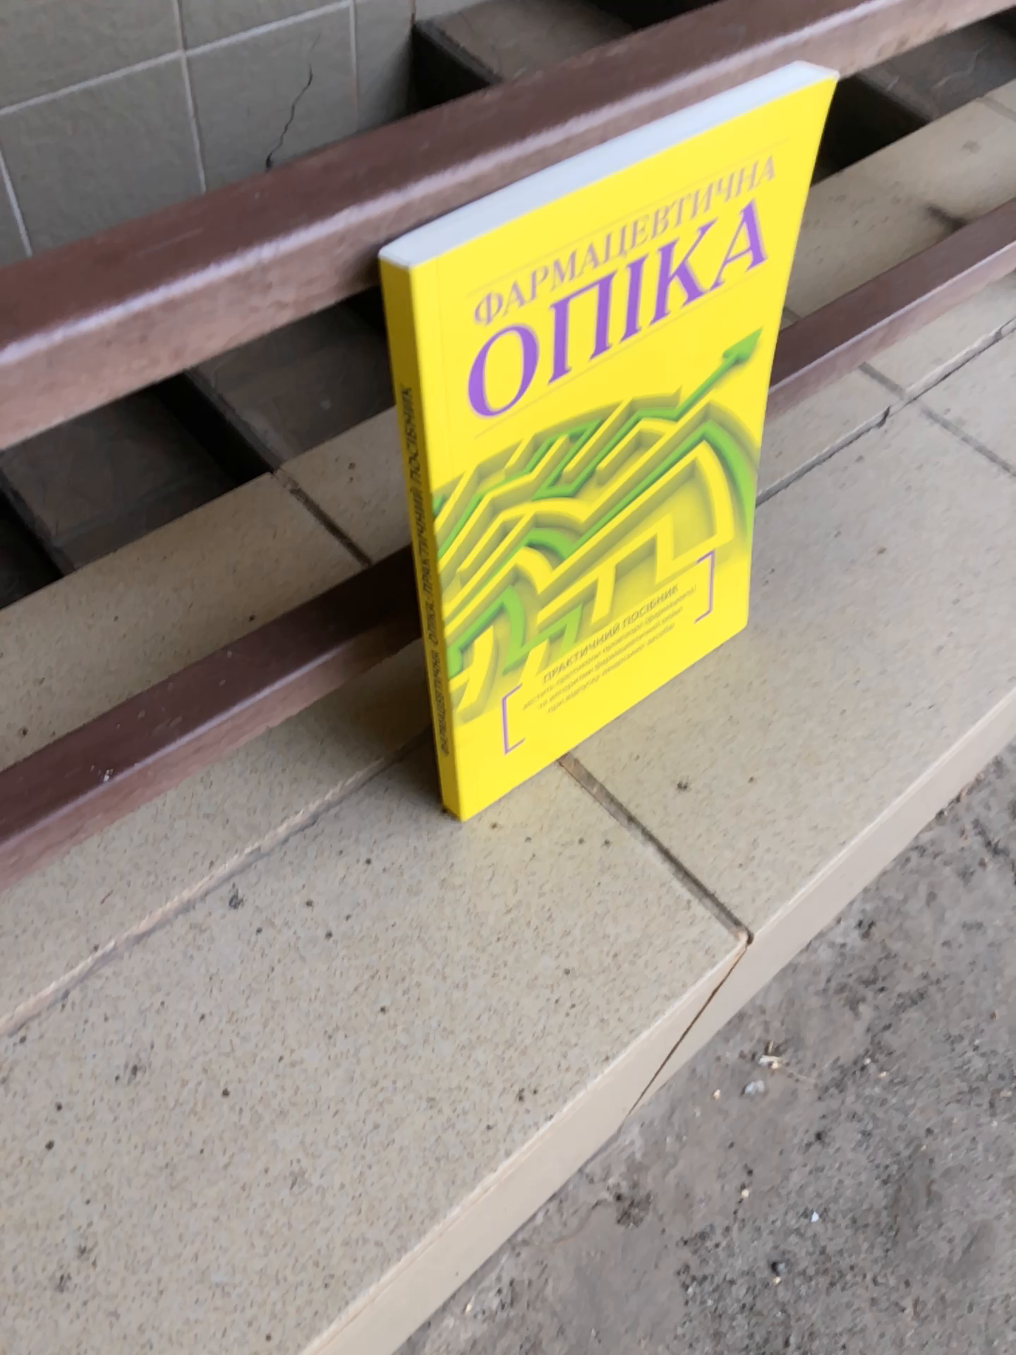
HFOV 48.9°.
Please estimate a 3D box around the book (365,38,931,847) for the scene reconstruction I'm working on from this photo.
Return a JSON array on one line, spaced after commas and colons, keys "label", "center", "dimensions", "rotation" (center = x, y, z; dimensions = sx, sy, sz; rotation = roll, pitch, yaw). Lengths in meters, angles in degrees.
[{"label": "book", "center": [0.047, -0.065, 0.388], "dimensions": [0.180, 0.239, 0.030], "rotation": [-32, 56, -24]}]
